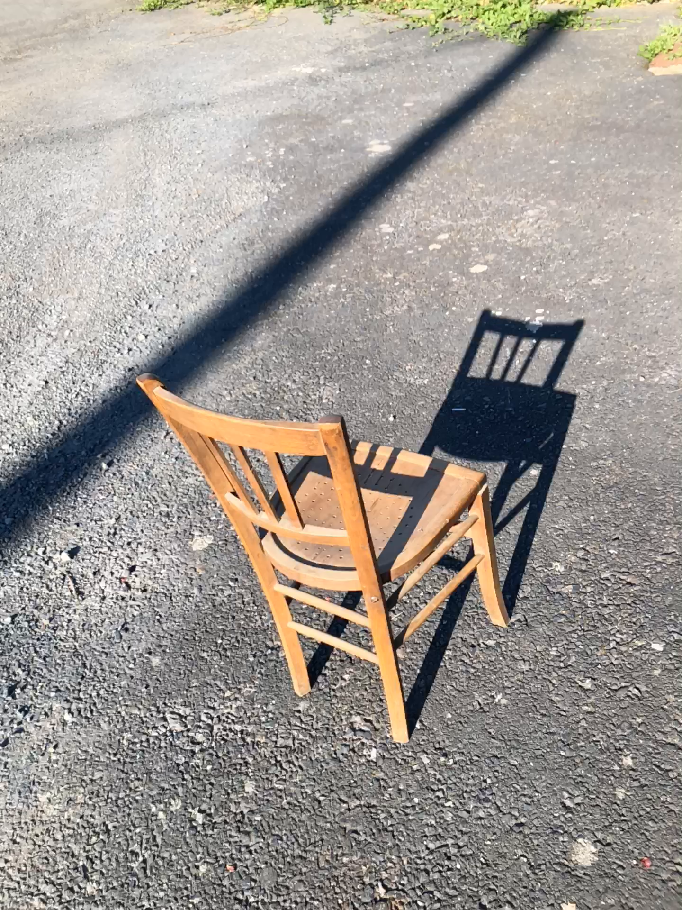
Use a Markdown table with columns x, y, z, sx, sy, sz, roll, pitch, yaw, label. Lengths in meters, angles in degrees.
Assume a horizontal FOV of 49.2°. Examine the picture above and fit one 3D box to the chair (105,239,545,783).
| x | y | z | sx | sy | sz | roll | pitch | yaw | label |
| --- | --- | --- | --- | --- | --- | --- | --- | --- | --- |
| 0.031 | 0.063 | 1.396 | 0.490 | 0.736 | 0.543 | 16 | 39 | 33 | chair |
